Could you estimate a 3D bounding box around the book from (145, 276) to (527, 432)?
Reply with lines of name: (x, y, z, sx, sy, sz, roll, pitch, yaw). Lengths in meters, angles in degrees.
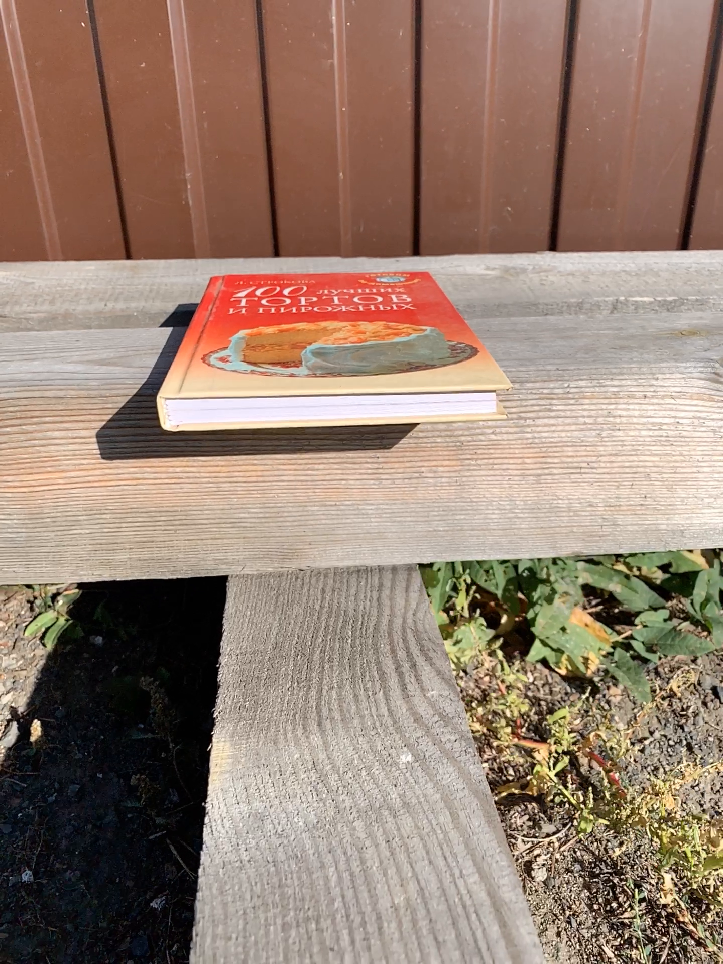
book: (-0.017, -0.076, 0.381, 0.143, 0.017, 0.219, -2, 25, -4)
